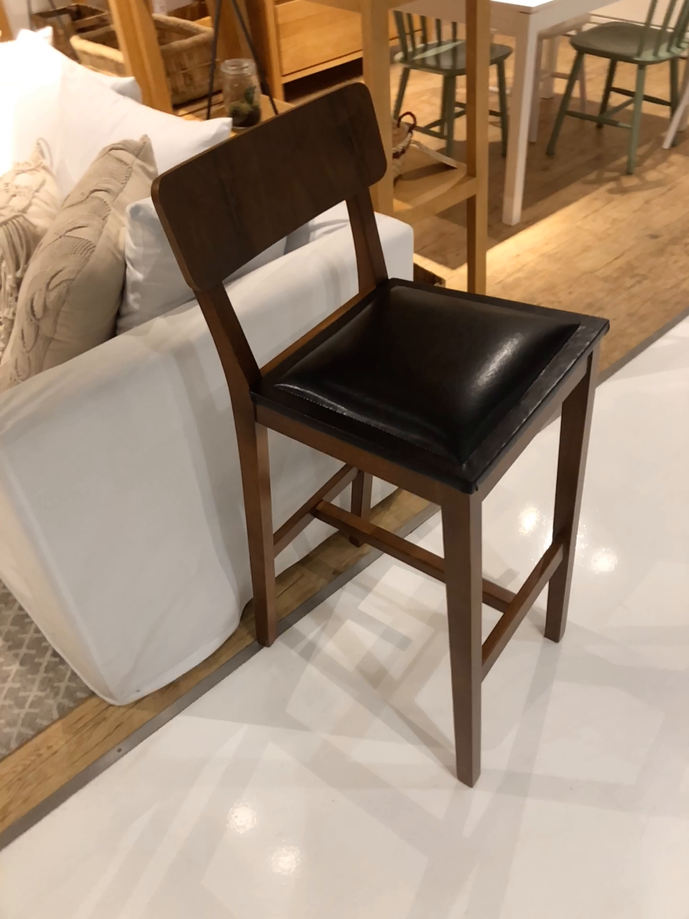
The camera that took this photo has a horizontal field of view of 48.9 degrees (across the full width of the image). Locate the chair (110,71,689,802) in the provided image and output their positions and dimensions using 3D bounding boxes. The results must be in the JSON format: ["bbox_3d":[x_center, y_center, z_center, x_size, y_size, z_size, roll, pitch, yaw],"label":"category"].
[{"bbox_3d":[0.097,0.004,1.233,0.531,1.002,0.442,24,50,28],"label":"chair"}]
